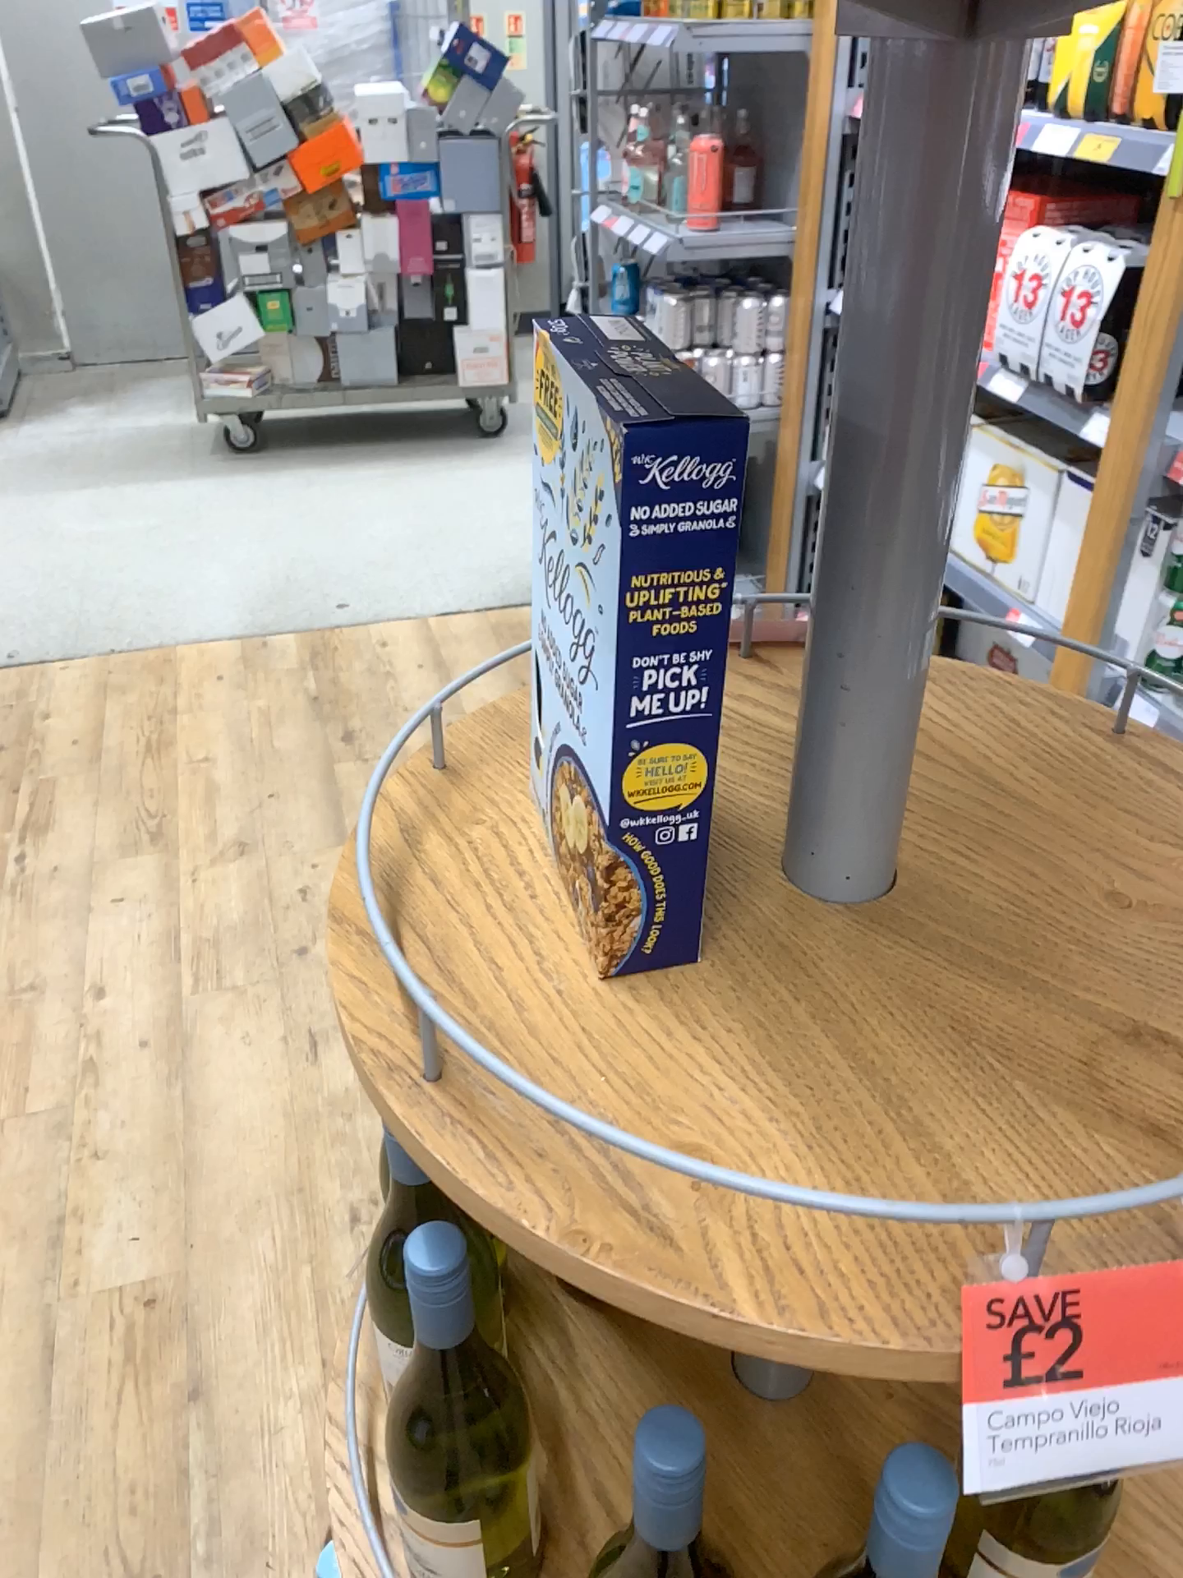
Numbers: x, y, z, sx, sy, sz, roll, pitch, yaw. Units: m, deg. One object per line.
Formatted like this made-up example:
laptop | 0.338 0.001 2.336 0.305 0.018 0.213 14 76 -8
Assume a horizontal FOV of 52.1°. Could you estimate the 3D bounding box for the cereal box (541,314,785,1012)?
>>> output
cereal box | 0.018 -0.057 0.528 0.050 0.248 0.172 -6 33 -11
